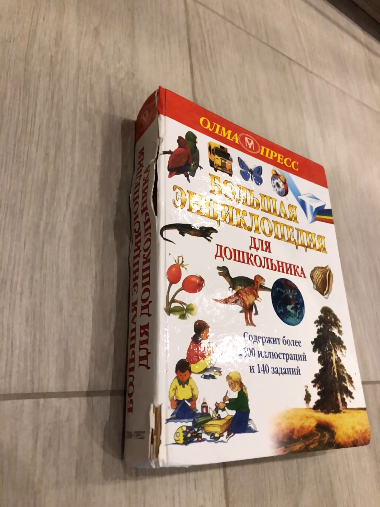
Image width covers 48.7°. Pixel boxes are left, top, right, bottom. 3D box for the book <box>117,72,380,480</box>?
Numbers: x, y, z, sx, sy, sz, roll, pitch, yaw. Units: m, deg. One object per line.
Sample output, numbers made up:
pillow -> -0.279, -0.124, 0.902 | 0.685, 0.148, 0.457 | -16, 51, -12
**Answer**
book -> 0.056, 0.020, 0.356 | 0.217, 0.060, 0.281 | 15, 63, -34
